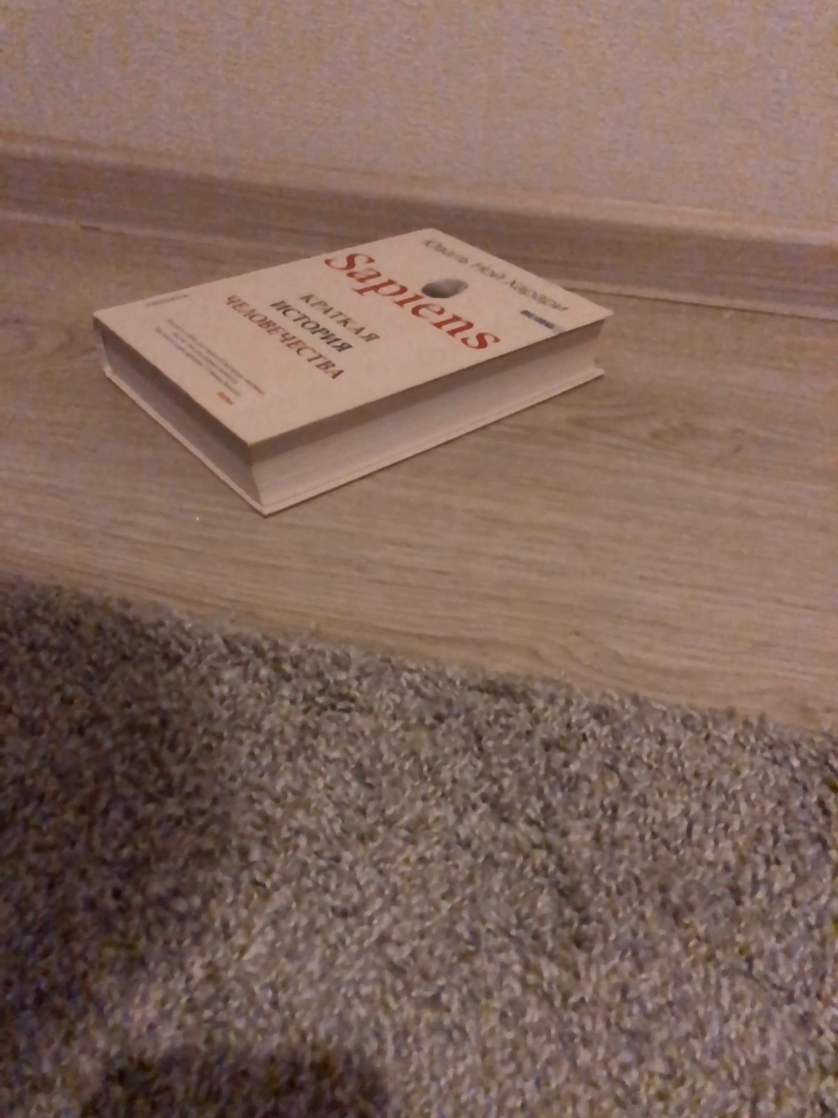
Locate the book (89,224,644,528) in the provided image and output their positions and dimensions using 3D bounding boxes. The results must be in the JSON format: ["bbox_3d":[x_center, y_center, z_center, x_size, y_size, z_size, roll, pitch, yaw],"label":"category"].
[{"bbox_3d":[-0.027,-0.126,0.541,0.259,0.040,0.187,-26,47,-31],"label":"book"}]
